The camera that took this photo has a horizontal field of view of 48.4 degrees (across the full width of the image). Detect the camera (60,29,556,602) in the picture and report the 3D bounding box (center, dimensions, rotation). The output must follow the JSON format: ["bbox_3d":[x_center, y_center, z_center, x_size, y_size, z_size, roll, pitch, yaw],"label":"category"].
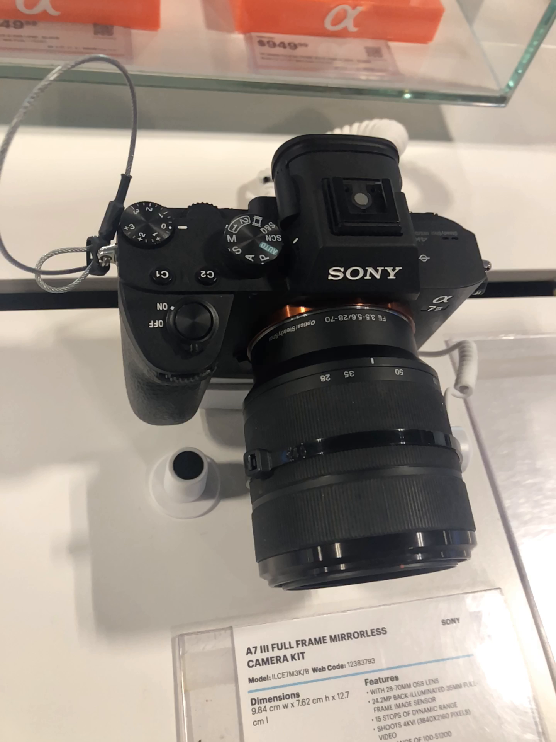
[{"bbox_3d":[0.002,-0.013,0.191,0.120,0.100,0.130,-4,63,-14],"label":"camera"}]
